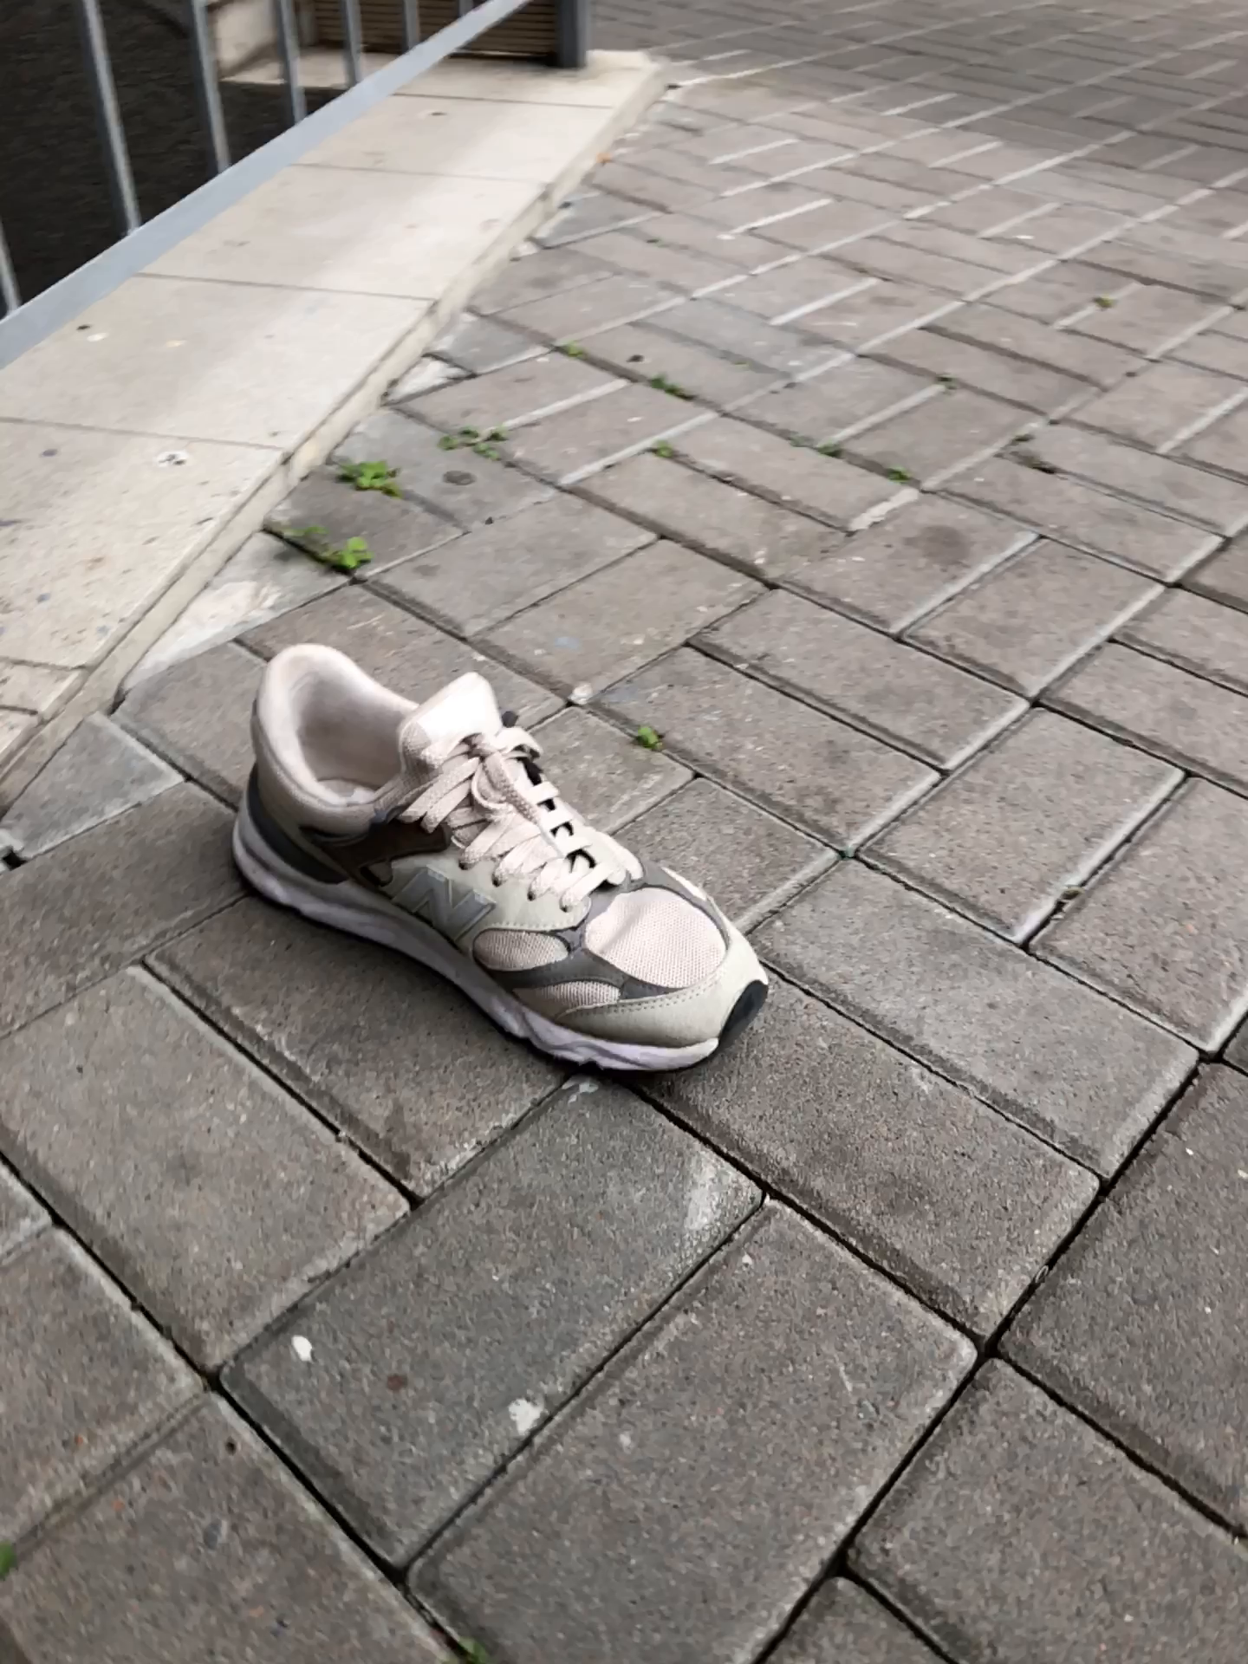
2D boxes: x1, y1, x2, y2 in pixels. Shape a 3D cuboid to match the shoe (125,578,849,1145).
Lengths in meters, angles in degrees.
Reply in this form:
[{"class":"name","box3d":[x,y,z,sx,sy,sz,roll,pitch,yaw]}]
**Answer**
[{"class":"shoe","box3d":[-0.066,-0.001,0.623,0.301,0.109,0.121,23,45,25]}]
